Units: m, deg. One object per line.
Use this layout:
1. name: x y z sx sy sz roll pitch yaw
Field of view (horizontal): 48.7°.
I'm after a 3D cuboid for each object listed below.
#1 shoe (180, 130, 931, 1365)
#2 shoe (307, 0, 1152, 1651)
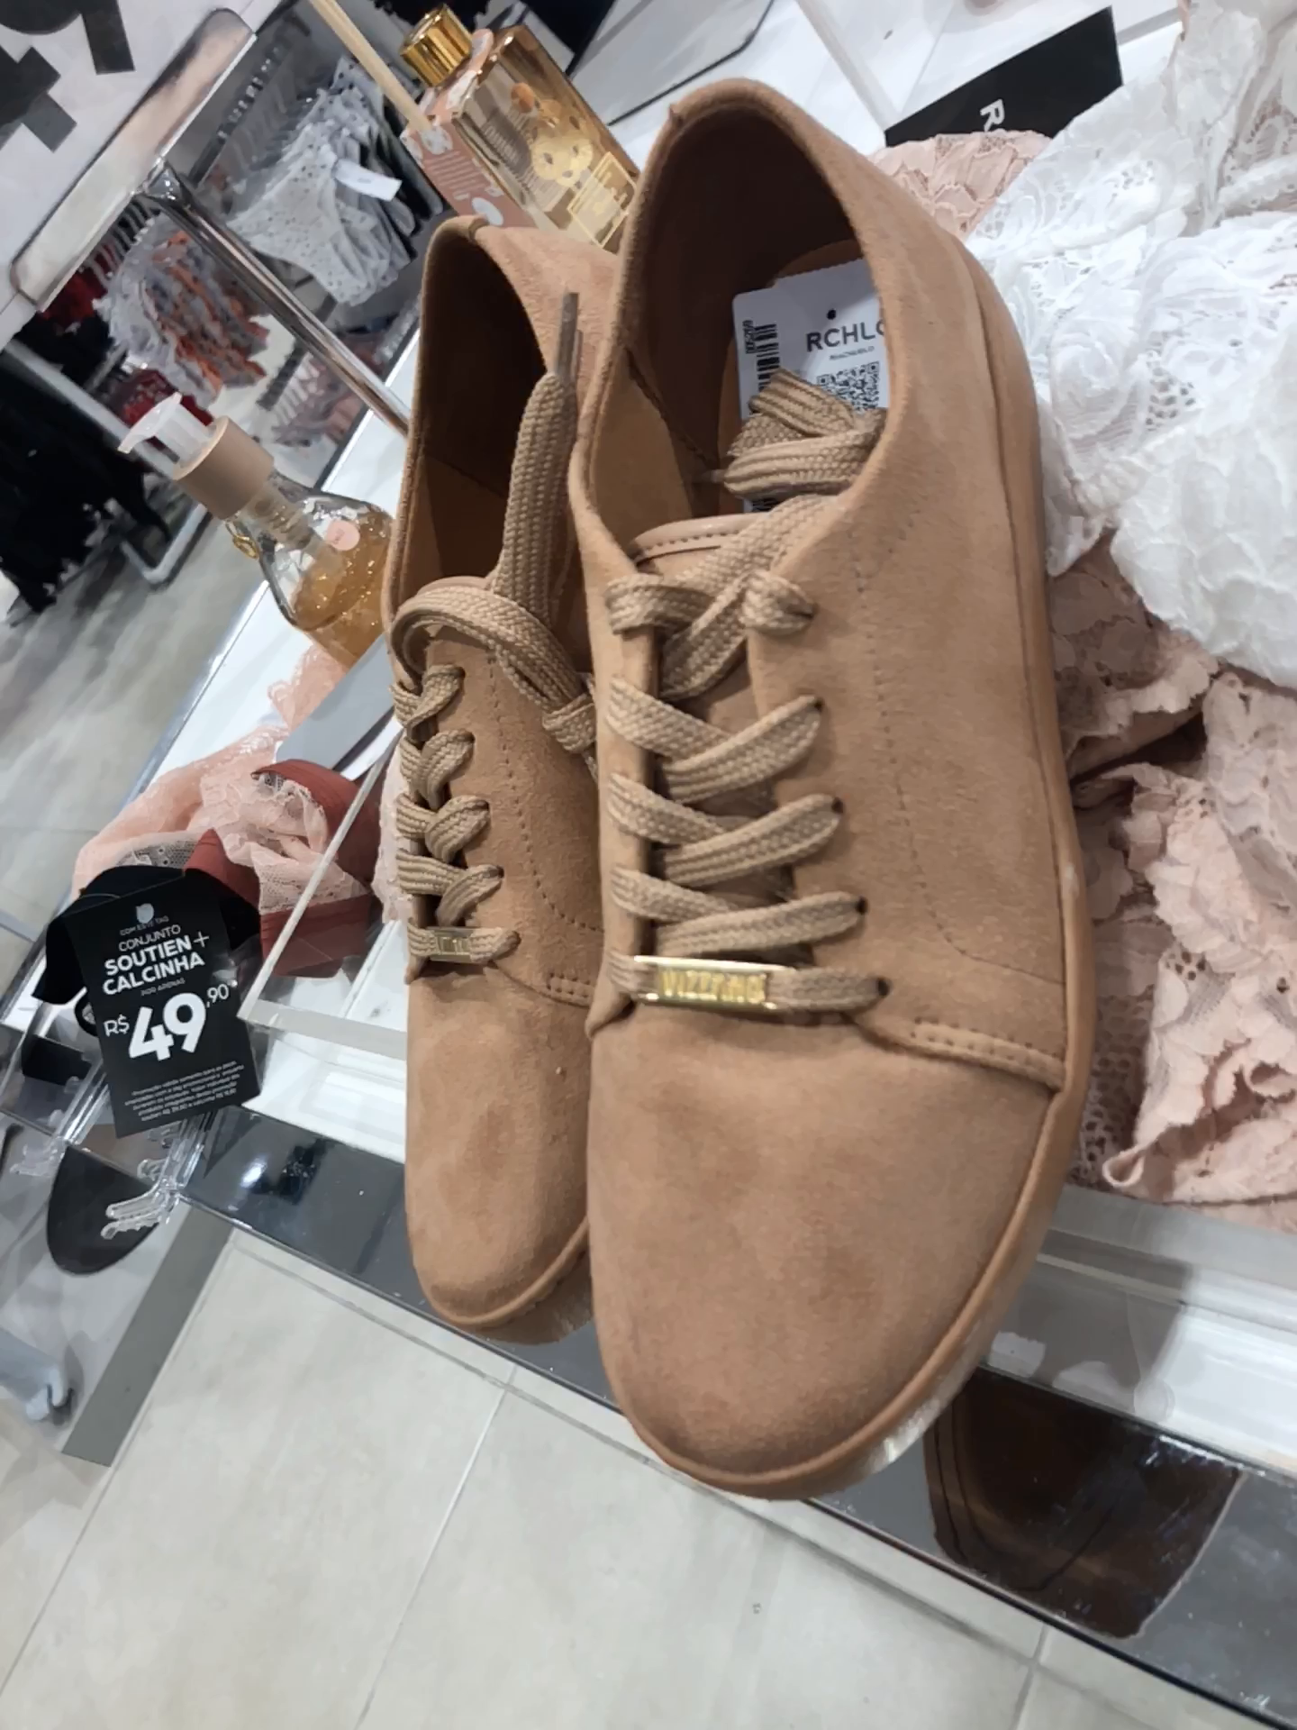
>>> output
1. shoe: -0.017 -0.019 0.334 0.090 0.099 0.240 0 77 47
2. shoe: 0.030 -0.010 0.259 0.090 0.099 0.241 -1 72 30
